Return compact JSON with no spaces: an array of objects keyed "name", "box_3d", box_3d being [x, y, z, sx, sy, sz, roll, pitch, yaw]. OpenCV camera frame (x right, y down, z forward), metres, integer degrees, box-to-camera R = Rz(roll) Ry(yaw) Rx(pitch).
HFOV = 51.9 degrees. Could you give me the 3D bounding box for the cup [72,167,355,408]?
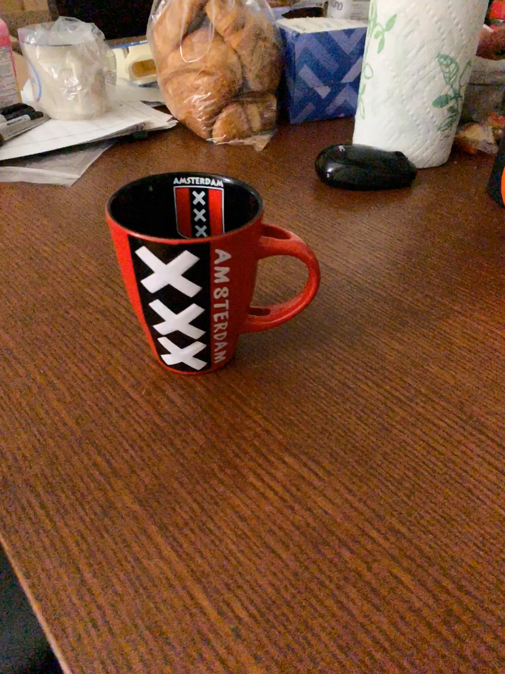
[{"name":"cup","box_3d":[-0.016,-0.031,0.304,0.130,0.099,0.091,3,39,3]}]
